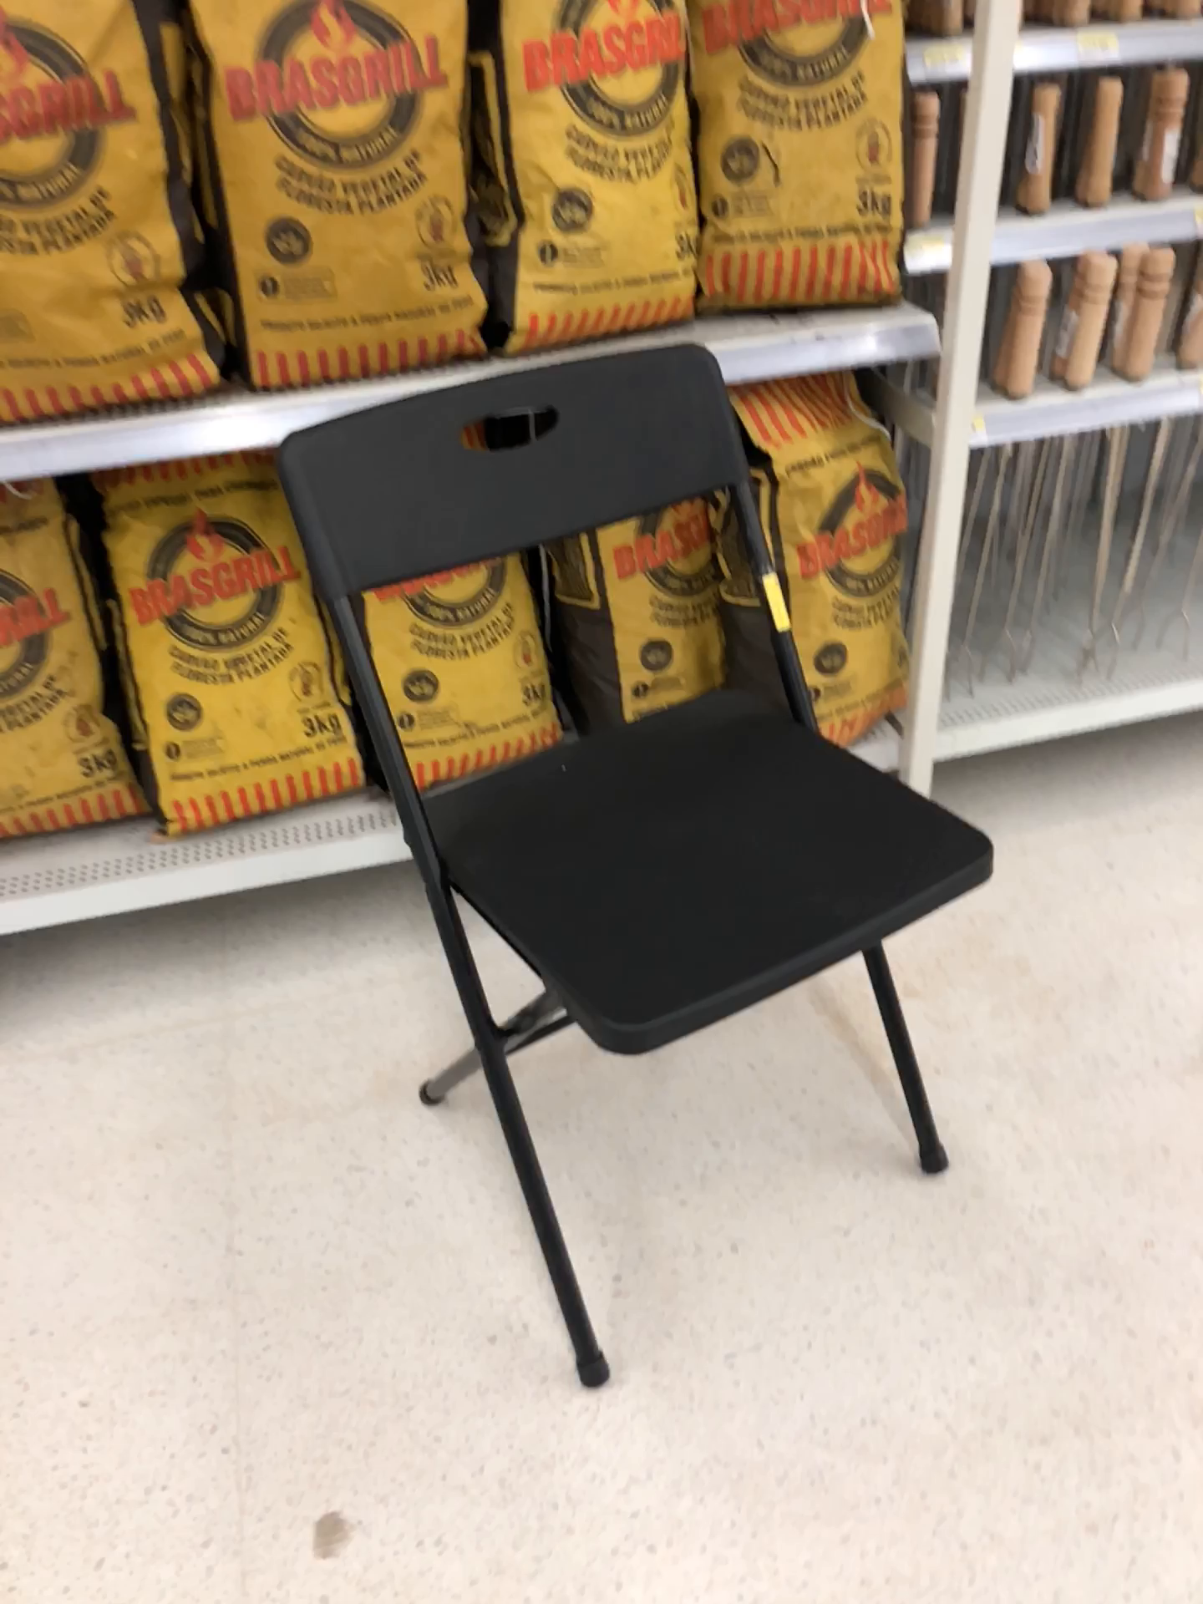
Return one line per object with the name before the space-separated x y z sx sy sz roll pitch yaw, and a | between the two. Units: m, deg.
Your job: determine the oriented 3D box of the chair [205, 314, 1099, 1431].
chair | 0.032 0.033 1.130 0.461 0.715 0.453 -22 38 -26
